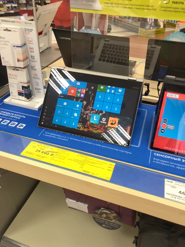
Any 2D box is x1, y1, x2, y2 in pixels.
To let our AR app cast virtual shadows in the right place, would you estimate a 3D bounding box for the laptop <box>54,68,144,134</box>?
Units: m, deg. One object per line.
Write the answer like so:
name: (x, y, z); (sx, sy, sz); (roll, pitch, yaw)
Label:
laptop: (0.033, -0.079, 0.872); (0.336, 0.150, 0.211); (12, 6, 16)
